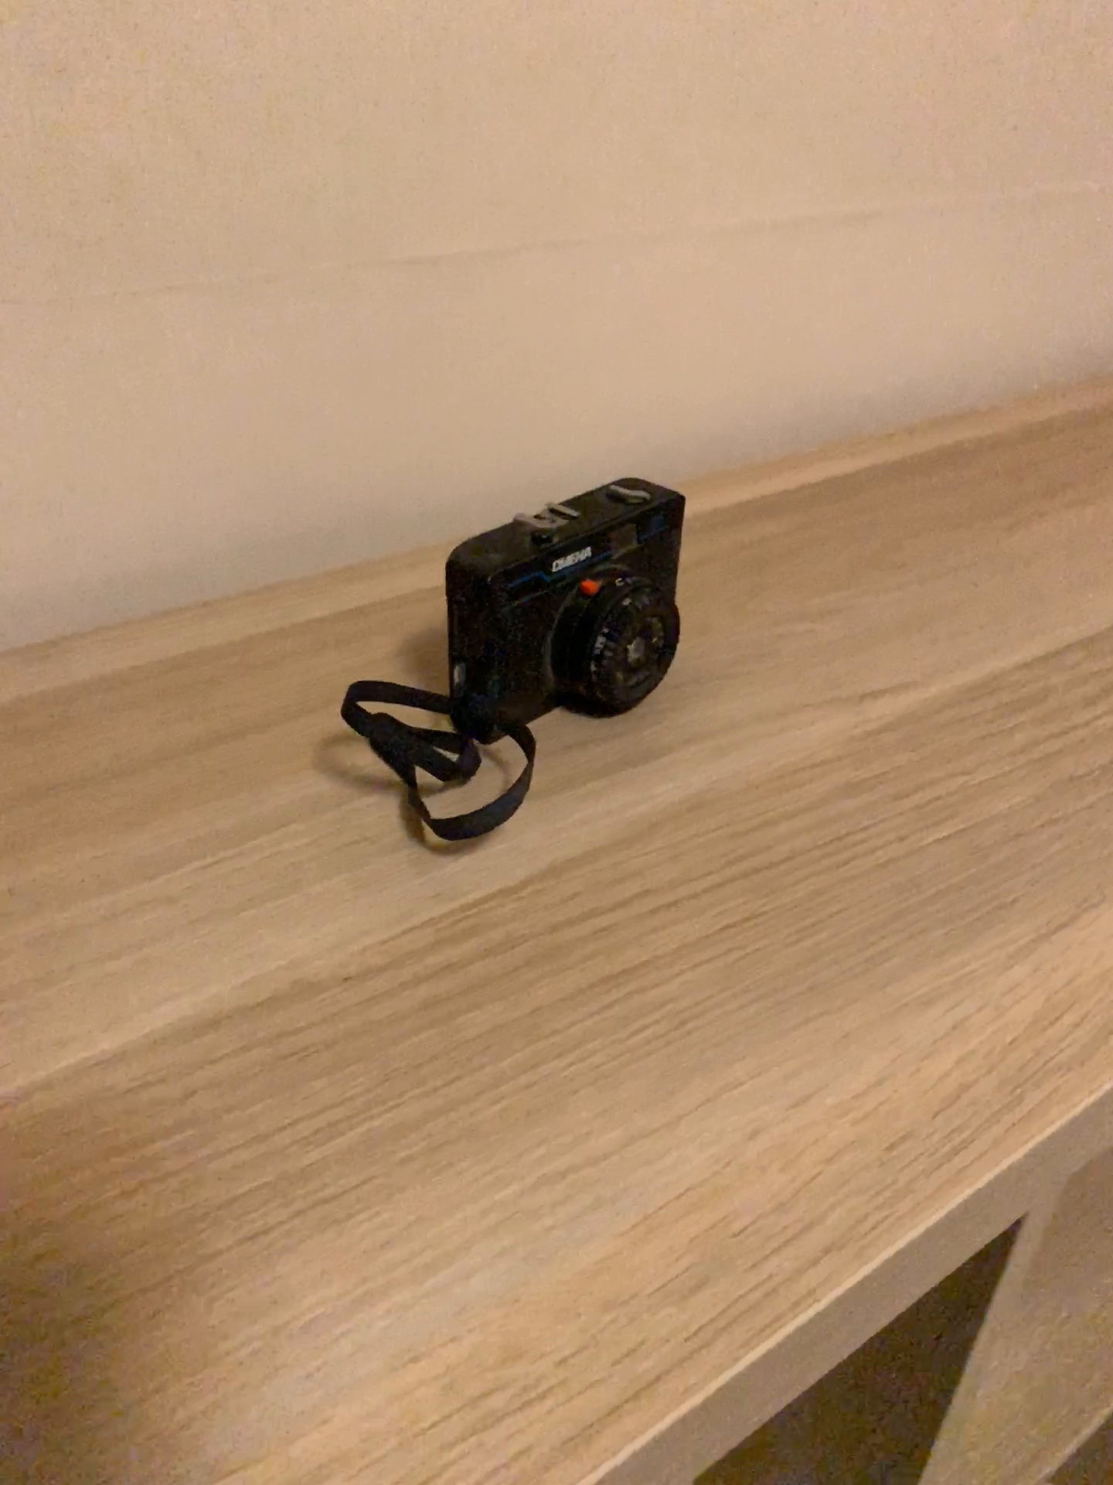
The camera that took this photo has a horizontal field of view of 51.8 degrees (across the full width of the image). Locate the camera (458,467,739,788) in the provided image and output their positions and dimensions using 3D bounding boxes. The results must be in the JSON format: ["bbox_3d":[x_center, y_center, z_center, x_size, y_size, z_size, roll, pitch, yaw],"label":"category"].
[{"bbox_3d":[0.016,-0.049,0.457,0.040,0.089,0.111,32,43,33],"label":"camera"}]
